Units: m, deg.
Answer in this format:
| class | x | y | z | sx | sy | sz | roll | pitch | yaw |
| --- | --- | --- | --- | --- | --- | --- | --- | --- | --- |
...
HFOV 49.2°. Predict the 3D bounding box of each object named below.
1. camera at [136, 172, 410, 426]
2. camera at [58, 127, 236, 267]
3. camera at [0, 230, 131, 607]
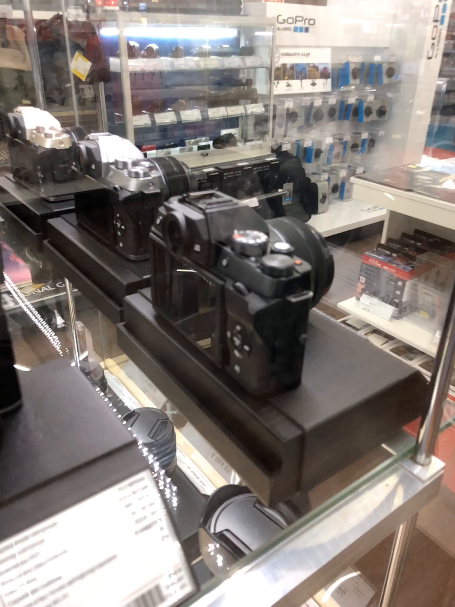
| class | x | y | z | sx | sy | sz | roll | pitch | yaw |
| --- | --- | --- | --- | --- | --- | --- | --- | --- | --- |
| camera | 0.019 | -0.015 | 0.292 | 0.095 | 0.090 | 0.120 | -17 | 33 | -31 |
| camera | -0.070 | -0.098 | 0.424 | 0.099 | 0.078 | 0.120 | -17 | 33 | -32 |
| camera | -0.115 | 0.031 | 0.182 | 0.120 | 0.069 | 0.100 | -19 | 34 | -34 |
